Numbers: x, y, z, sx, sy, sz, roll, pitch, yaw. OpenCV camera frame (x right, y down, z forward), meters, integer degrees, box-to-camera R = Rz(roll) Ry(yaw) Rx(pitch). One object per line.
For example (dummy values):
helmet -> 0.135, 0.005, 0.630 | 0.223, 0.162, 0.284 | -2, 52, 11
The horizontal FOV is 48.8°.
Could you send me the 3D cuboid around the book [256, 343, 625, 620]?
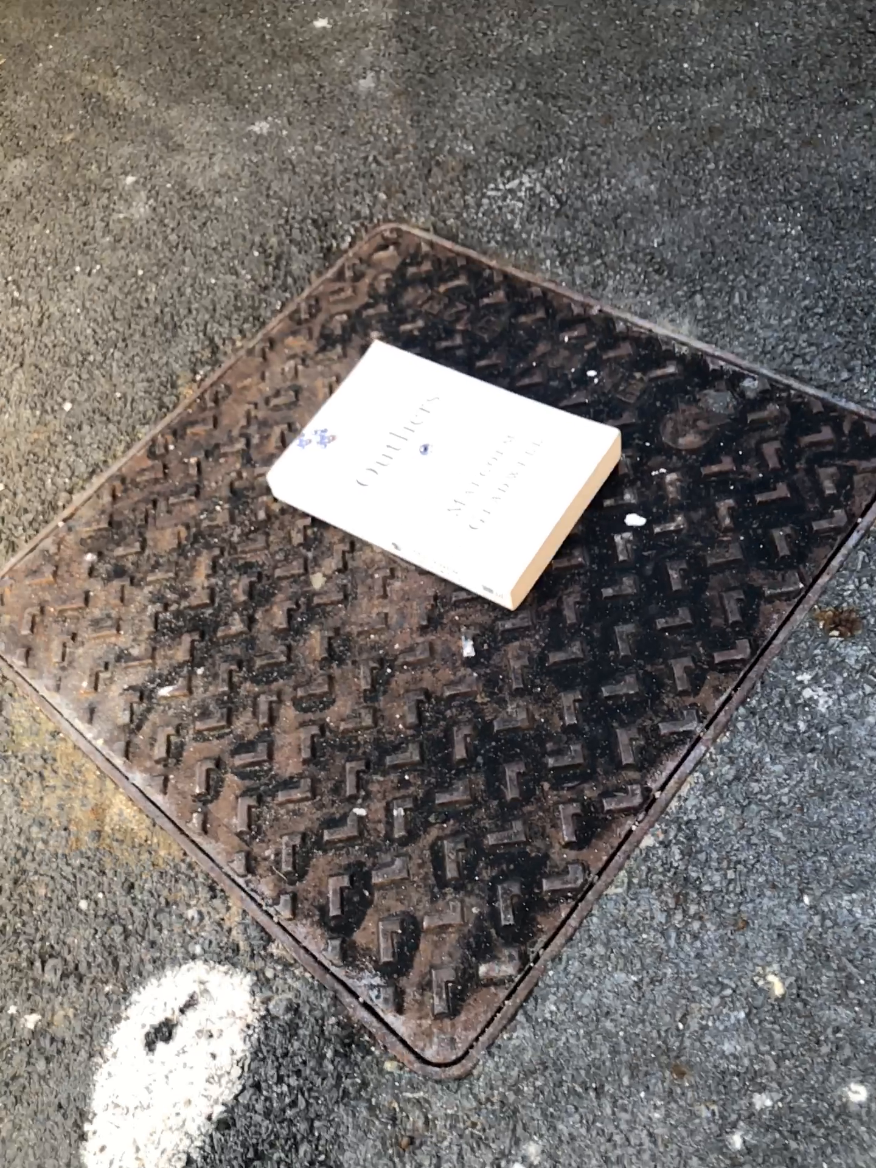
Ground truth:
book -> 0.000, -0.079, 0.661 | 0.209, 0.030, 0.140 | 25, 66, 26
